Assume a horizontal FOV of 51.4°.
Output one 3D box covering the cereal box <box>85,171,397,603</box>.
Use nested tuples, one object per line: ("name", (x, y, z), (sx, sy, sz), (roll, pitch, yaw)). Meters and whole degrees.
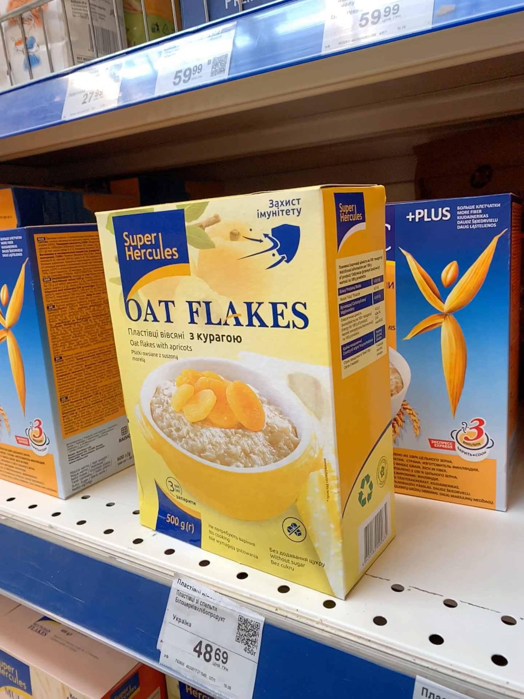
("cereal box", (-0.012, 0.012, 0.297), (0.150, 0.189, 0.060), (4, 14, 35))
